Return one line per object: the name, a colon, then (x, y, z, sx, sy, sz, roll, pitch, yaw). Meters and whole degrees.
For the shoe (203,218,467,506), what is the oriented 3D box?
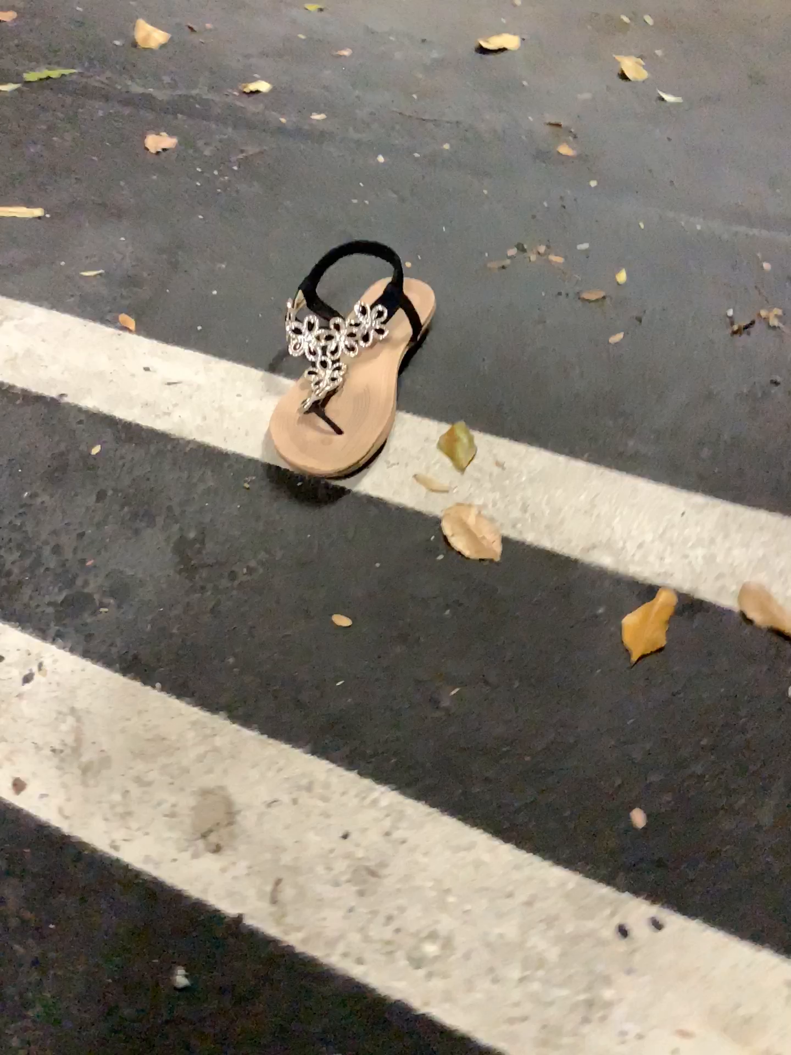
shoe: (-0.036, -0.142, 0.695, 0.120, 0.060, 0.260, 14, 51, 11)
